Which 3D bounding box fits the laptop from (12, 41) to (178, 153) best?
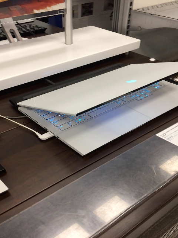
[{"bbox_3d":[0.066,-0.086,0.618,0.404,0.102,0.235,-26,46,-28],"label":"laptop"}]
